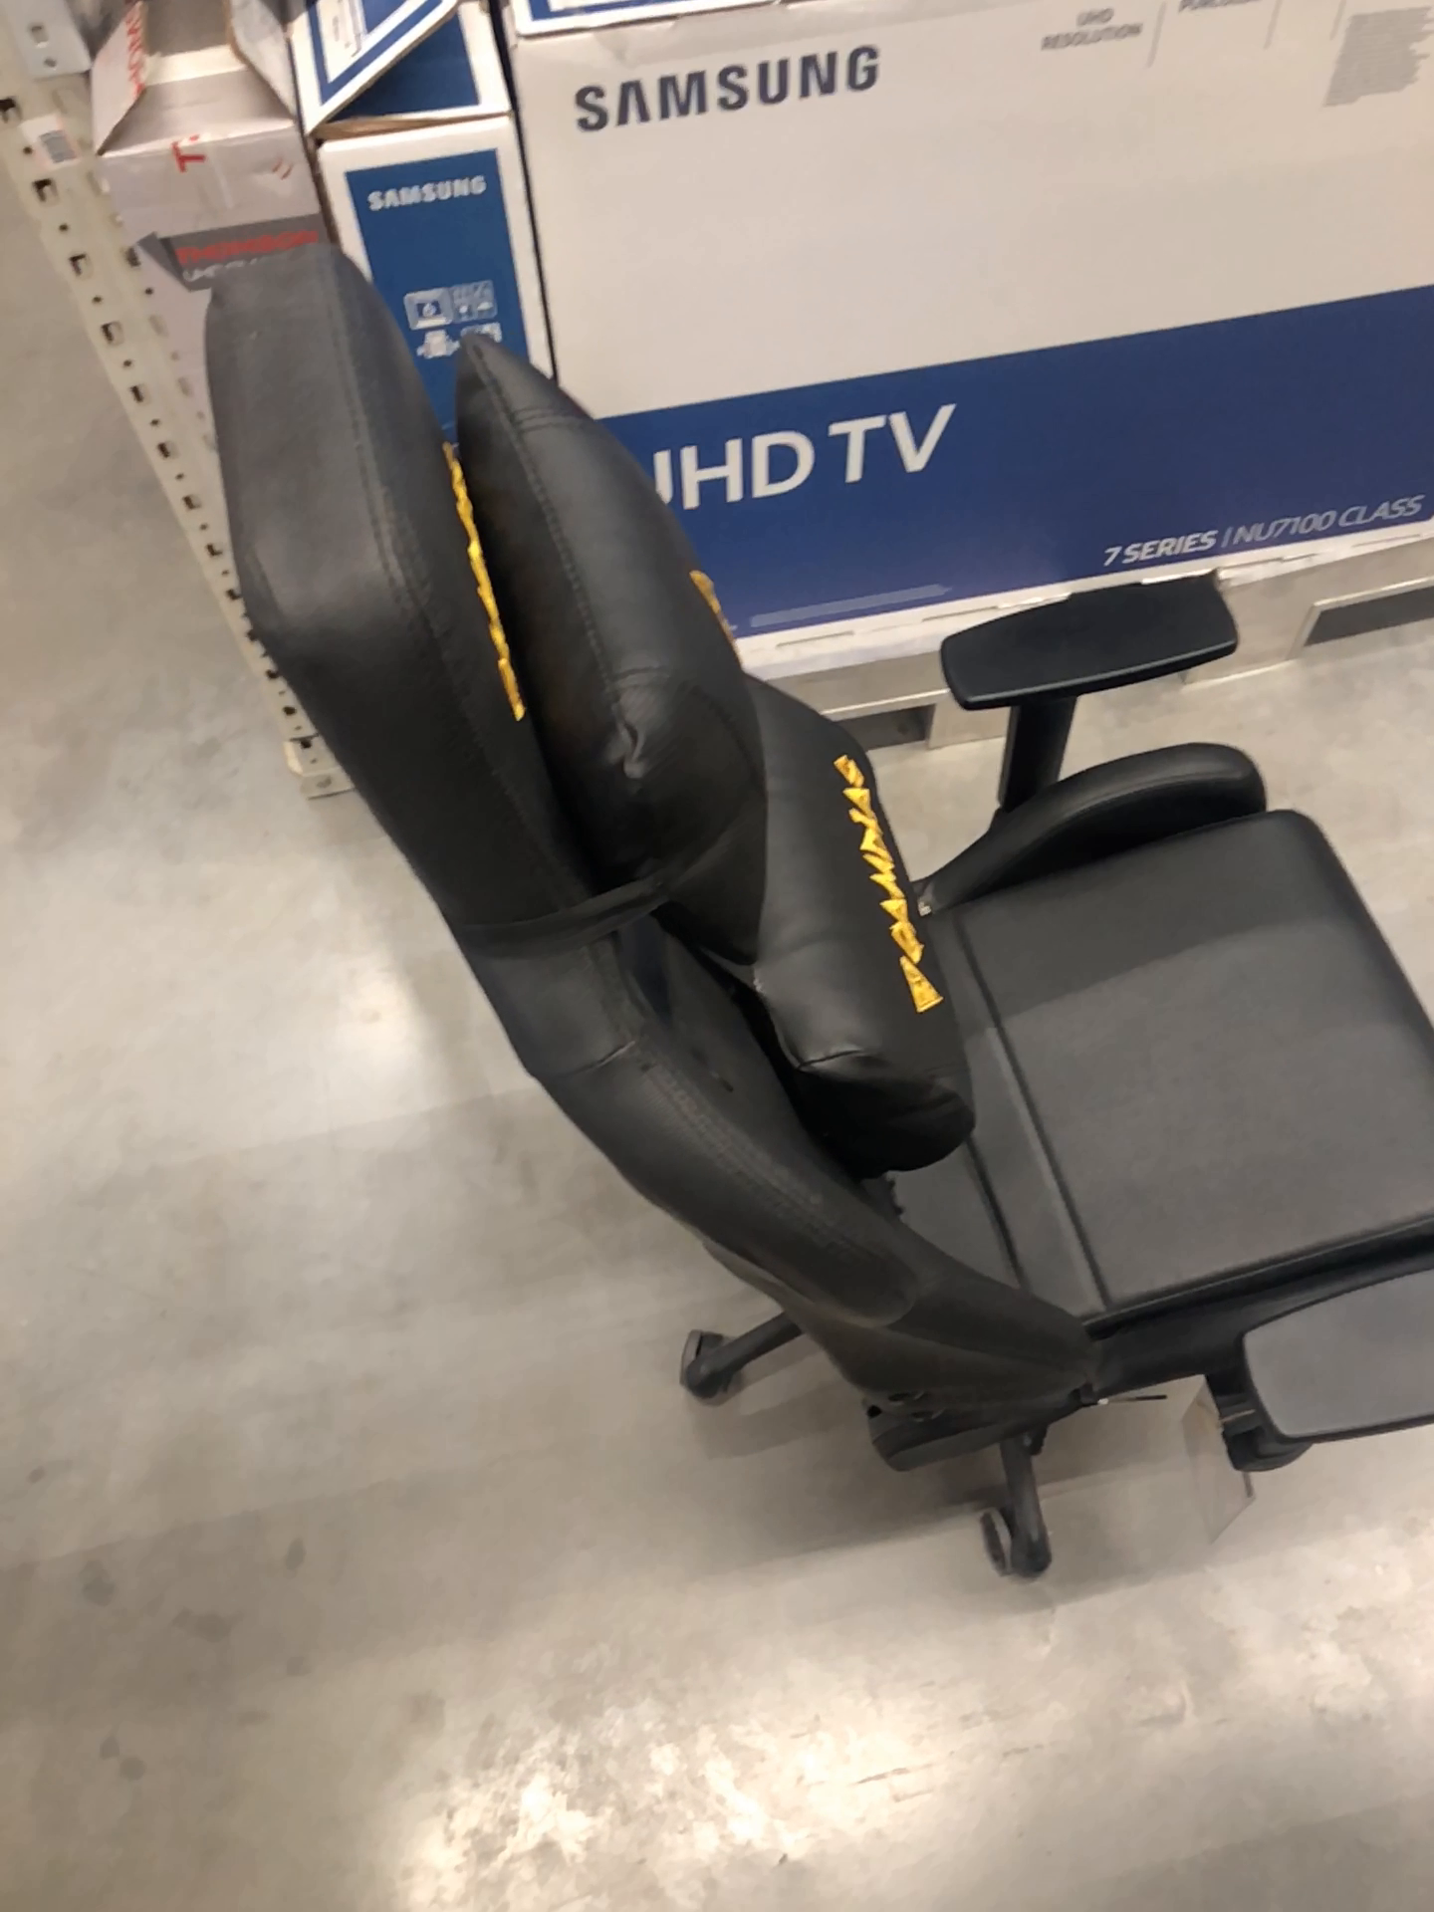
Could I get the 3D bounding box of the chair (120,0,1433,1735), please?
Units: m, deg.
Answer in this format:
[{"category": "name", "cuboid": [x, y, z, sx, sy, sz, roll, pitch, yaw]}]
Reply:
[{"category": "chair", "cuboid": [0.222, 0.028, 1.131, 0.780, 1.285, 0.743, -14, 62, -5]}]
